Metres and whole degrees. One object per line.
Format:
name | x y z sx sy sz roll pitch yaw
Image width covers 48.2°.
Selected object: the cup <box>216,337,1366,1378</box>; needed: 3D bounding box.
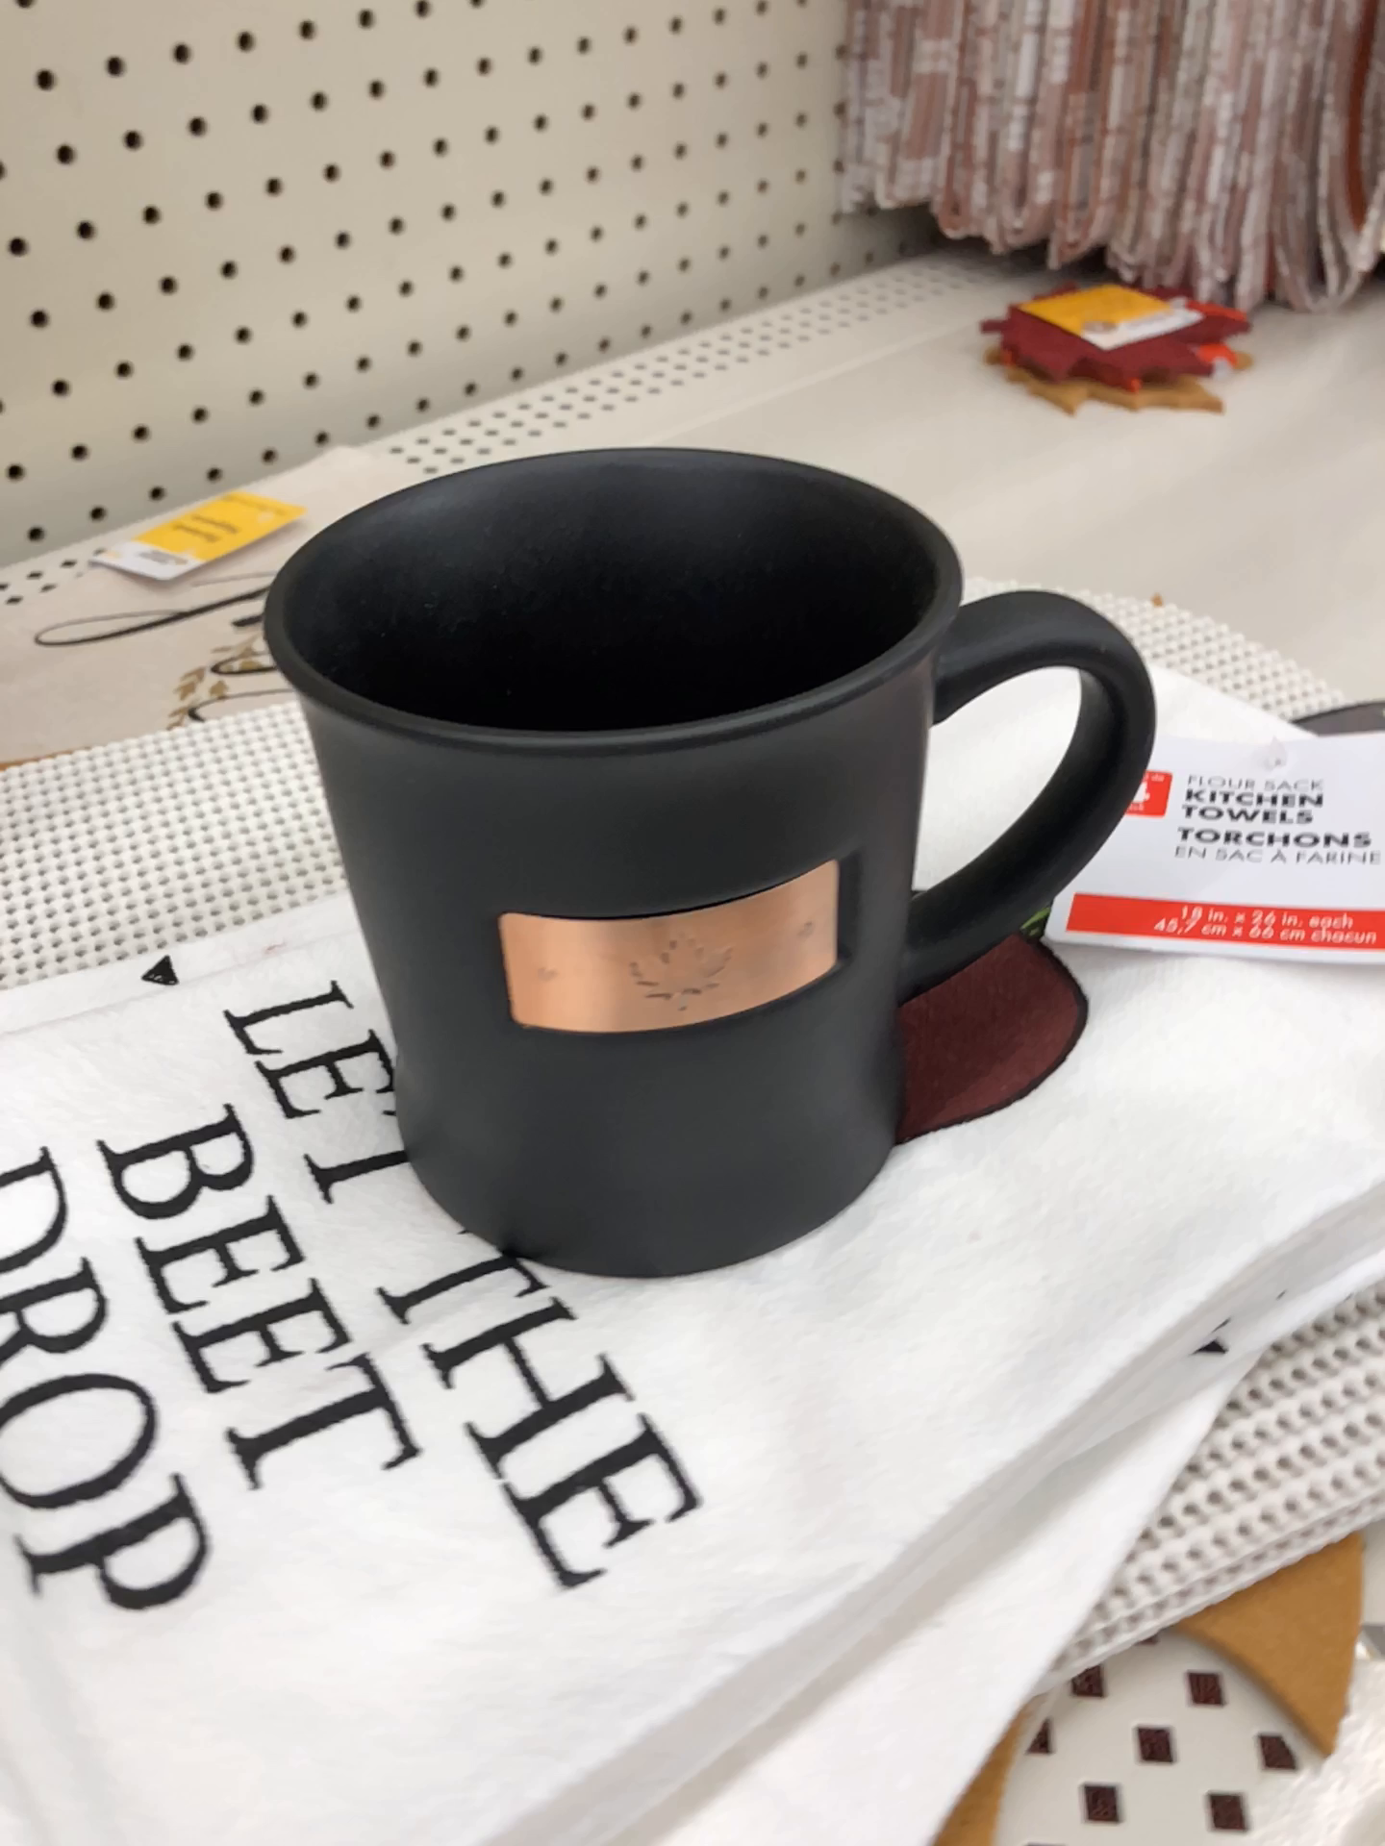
cup | 0.008 -0.017 0.259 0.140 0.110 0.100 -13 41 -13
